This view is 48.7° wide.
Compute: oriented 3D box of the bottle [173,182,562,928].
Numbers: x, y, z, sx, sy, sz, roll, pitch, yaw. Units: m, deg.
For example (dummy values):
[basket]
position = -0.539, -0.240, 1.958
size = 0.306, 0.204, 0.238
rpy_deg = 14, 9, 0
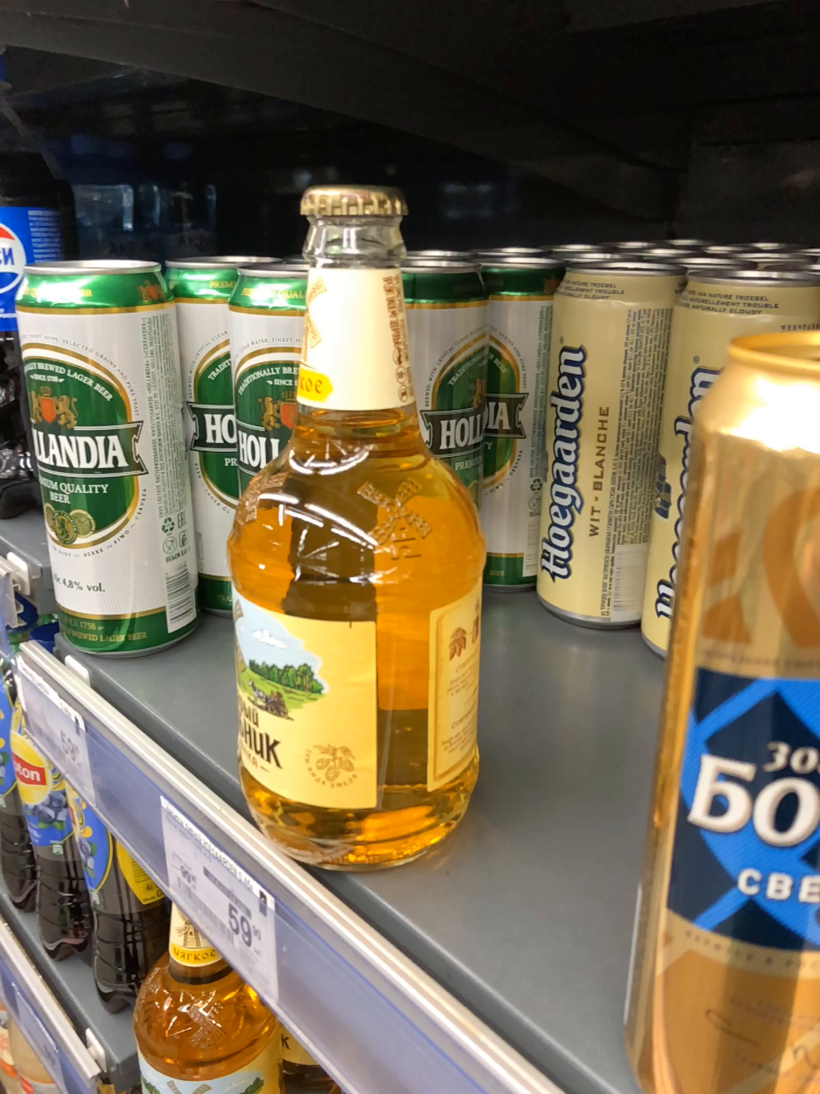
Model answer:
[bottle]
position = -0.018, -0.004, 0.272
size = 0.080, 0.193, 0.090
rpy_deg = -7, 21, -18
